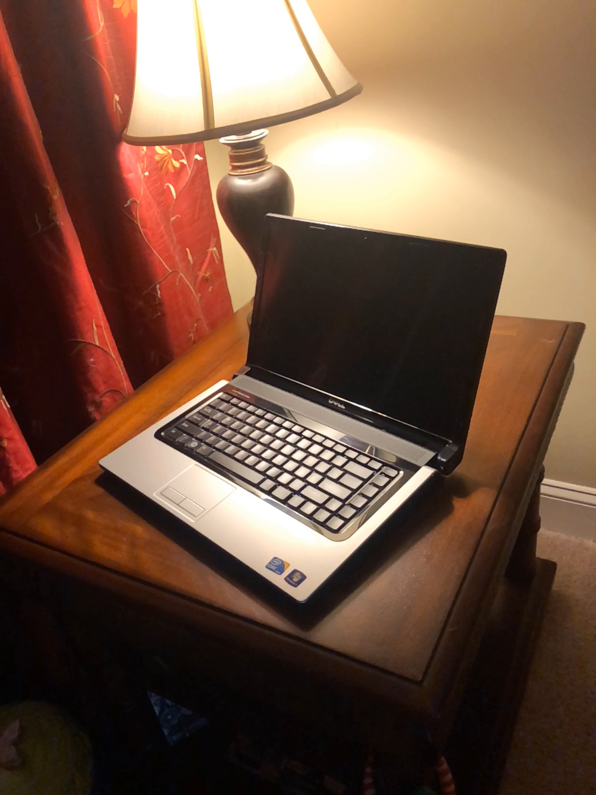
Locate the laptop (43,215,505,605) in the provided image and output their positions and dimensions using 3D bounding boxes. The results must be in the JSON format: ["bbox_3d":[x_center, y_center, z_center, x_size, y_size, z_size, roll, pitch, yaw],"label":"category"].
[{"bbox_3d":[-0.017,-0.035,0.749,0.363,0.204,0.351,21,43,40],"label":"laptop"}]
